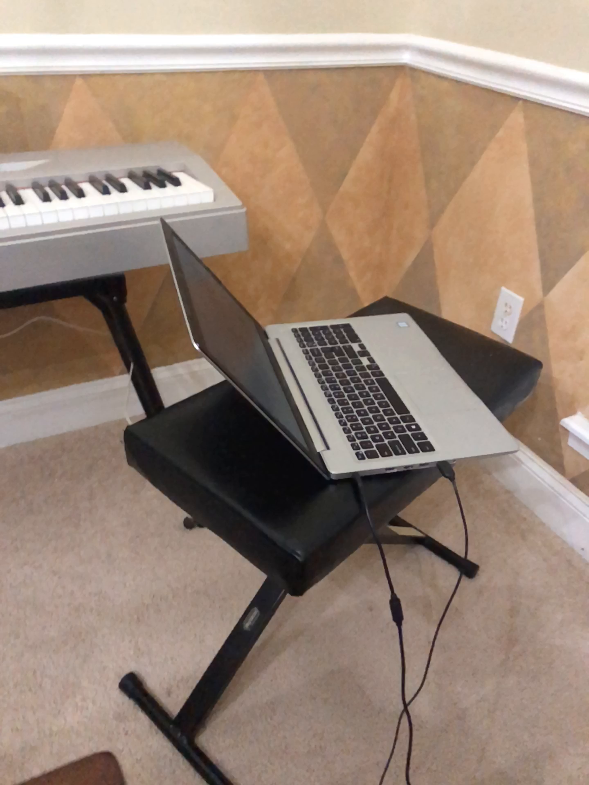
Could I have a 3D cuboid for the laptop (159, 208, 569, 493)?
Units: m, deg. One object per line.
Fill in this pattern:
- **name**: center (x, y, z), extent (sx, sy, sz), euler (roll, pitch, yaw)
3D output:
- **laptop**: center (0.050, -0.088, 0.859), extent (0.408, 0.183, 0.377), euler (-6, 35, -14)
